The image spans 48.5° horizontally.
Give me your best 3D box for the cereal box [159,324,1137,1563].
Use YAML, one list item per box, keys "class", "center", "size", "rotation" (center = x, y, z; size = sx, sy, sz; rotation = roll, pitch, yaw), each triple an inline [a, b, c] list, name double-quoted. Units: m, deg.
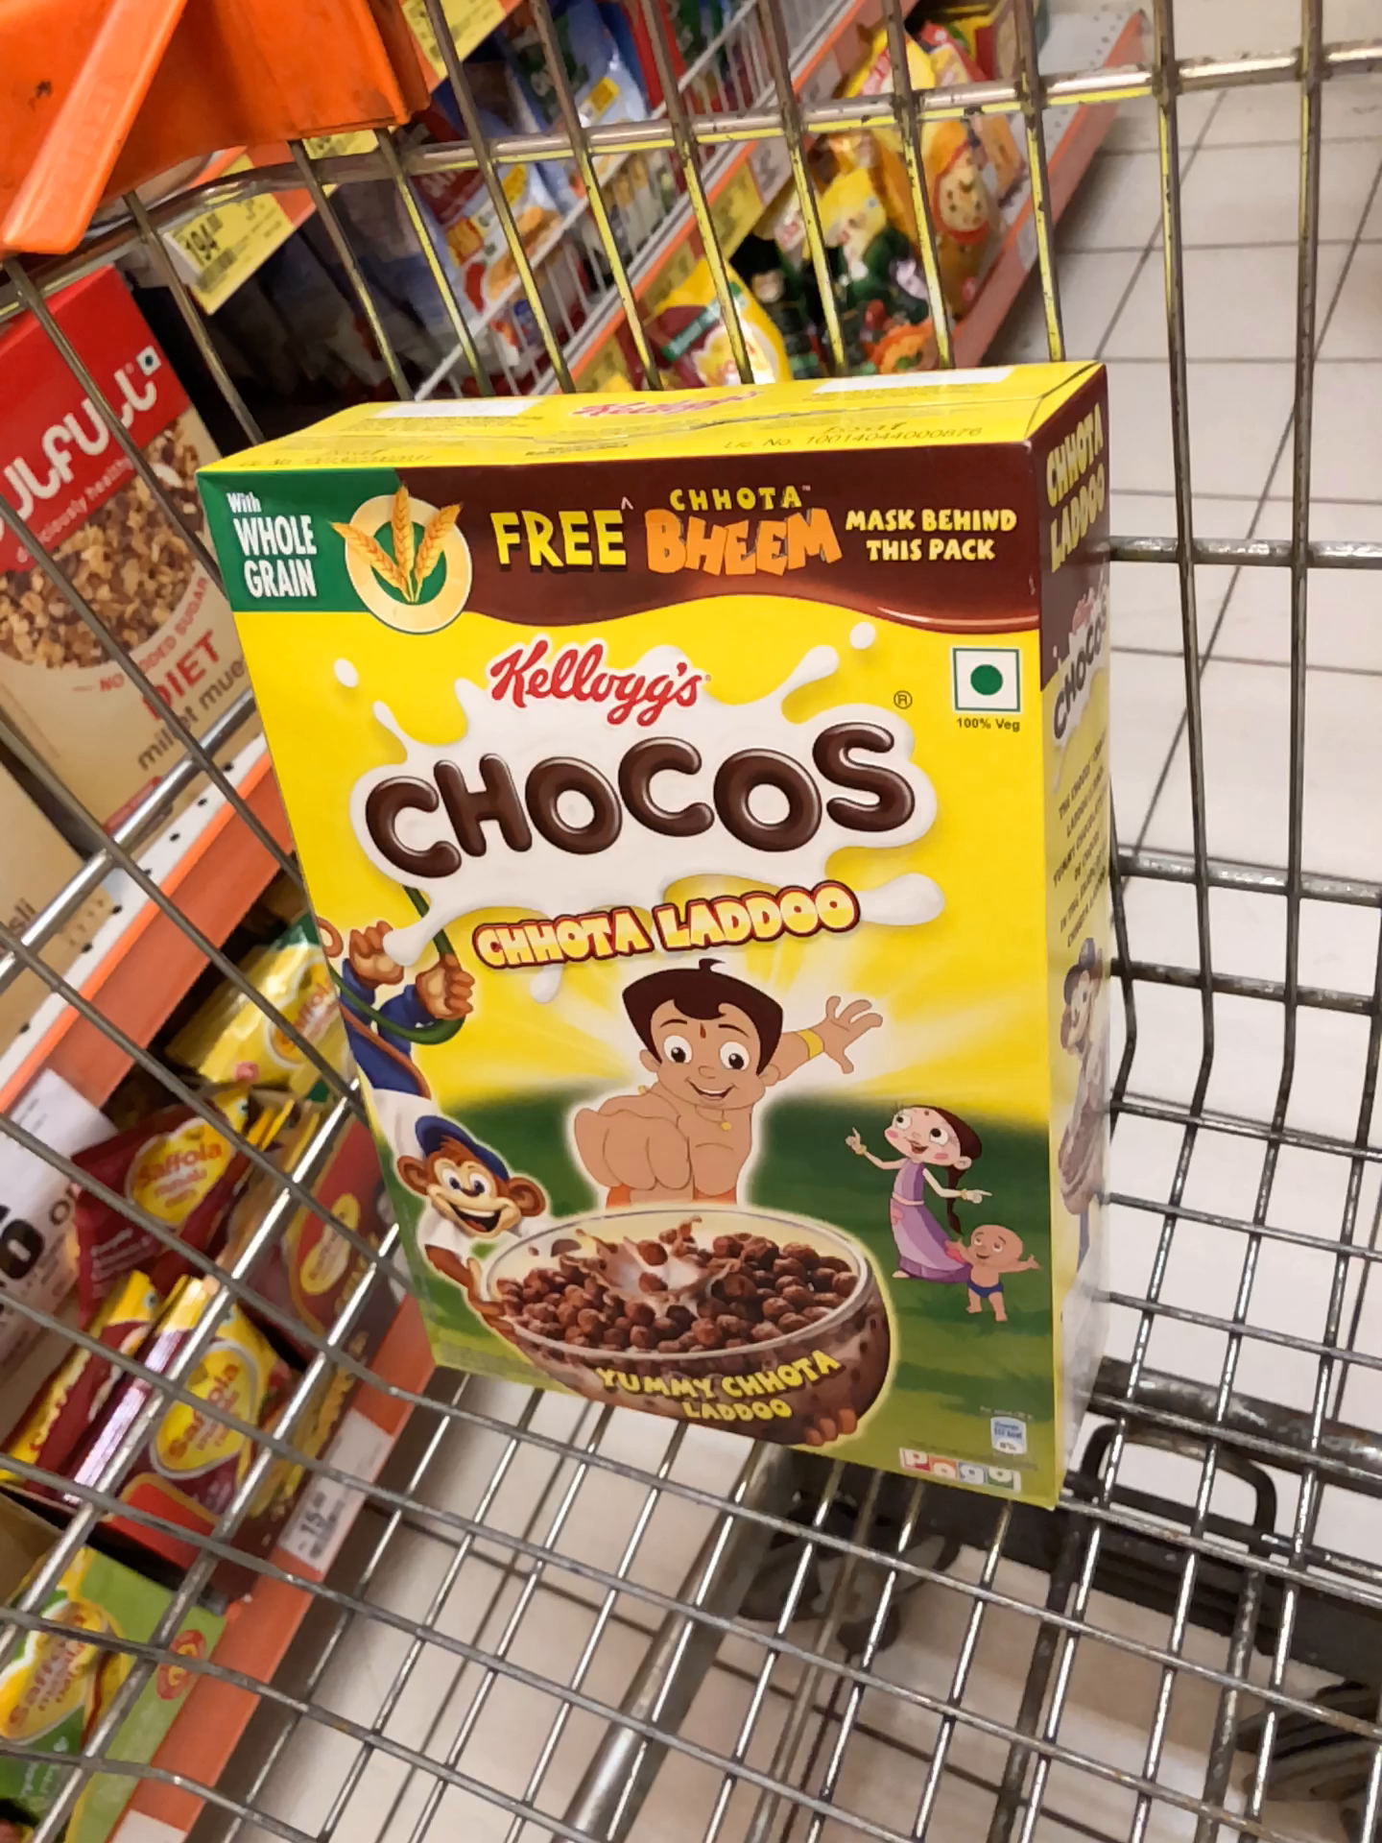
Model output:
- class: "cereal box"
  center: [0.004, 0.005, 0.358]
  size: [0.180, 0.249, 0.080]
  rotation: [5, 27, 25]
